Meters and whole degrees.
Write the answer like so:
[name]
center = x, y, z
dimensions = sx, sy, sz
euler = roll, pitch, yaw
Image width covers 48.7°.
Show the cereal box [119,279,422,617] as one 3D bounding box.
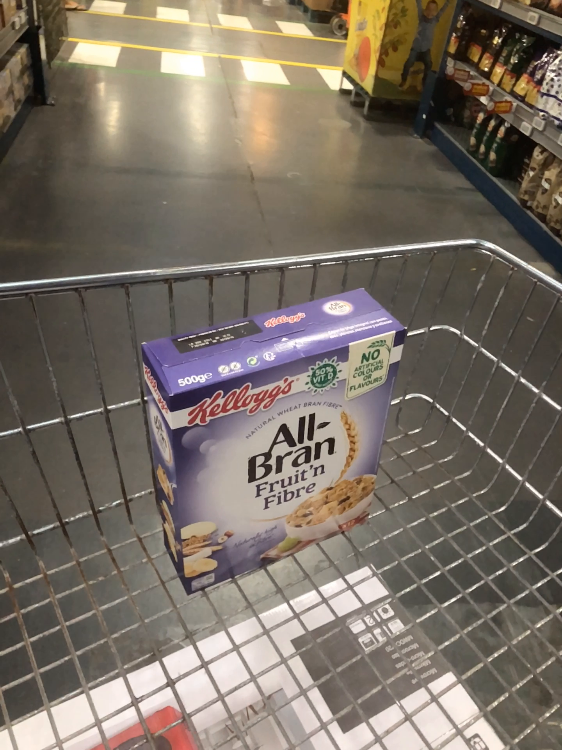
[cereal box]
center = -0.009, 0.061, 0.486
dimensions = 0.190, 0.229, 0.070
euler = -17, 45, -23
